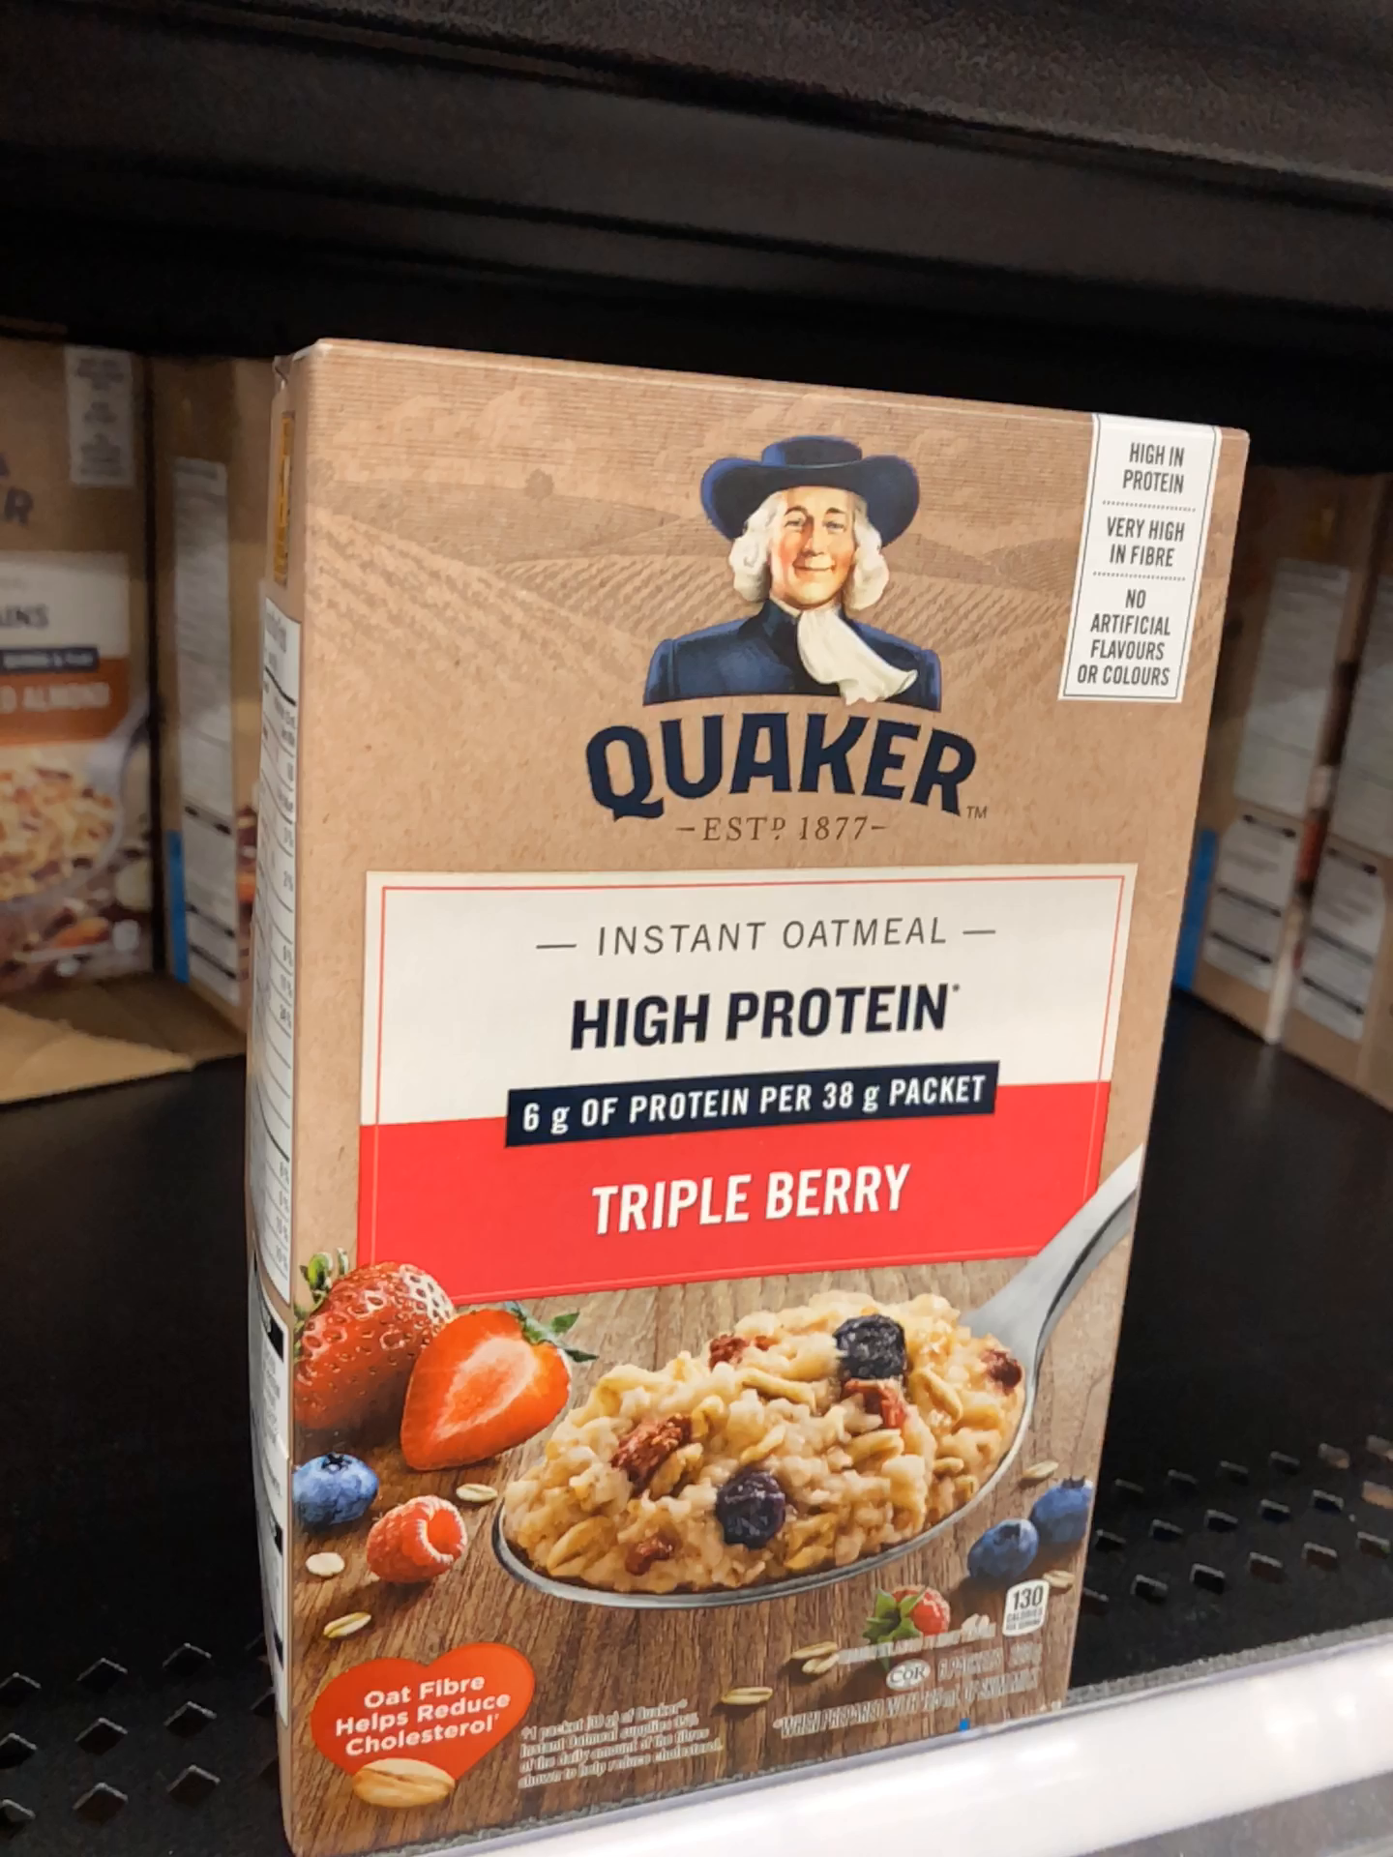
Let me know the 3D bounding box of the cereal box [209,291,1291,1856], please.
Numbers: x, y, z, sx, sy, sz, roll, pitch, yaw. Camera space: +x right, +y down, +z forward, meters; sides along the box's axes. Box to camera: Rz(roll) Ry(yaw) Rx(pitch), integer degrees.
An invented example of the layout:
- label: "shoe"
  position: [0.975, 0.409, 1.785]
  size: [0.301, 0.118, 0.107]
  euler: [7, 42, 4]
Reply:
- label: "cereal box"
  position: [-0.003, 0.021, 0.235]
  size: [0.130, 0.199, 0.070]
  euler: [-1, 15, -19]
